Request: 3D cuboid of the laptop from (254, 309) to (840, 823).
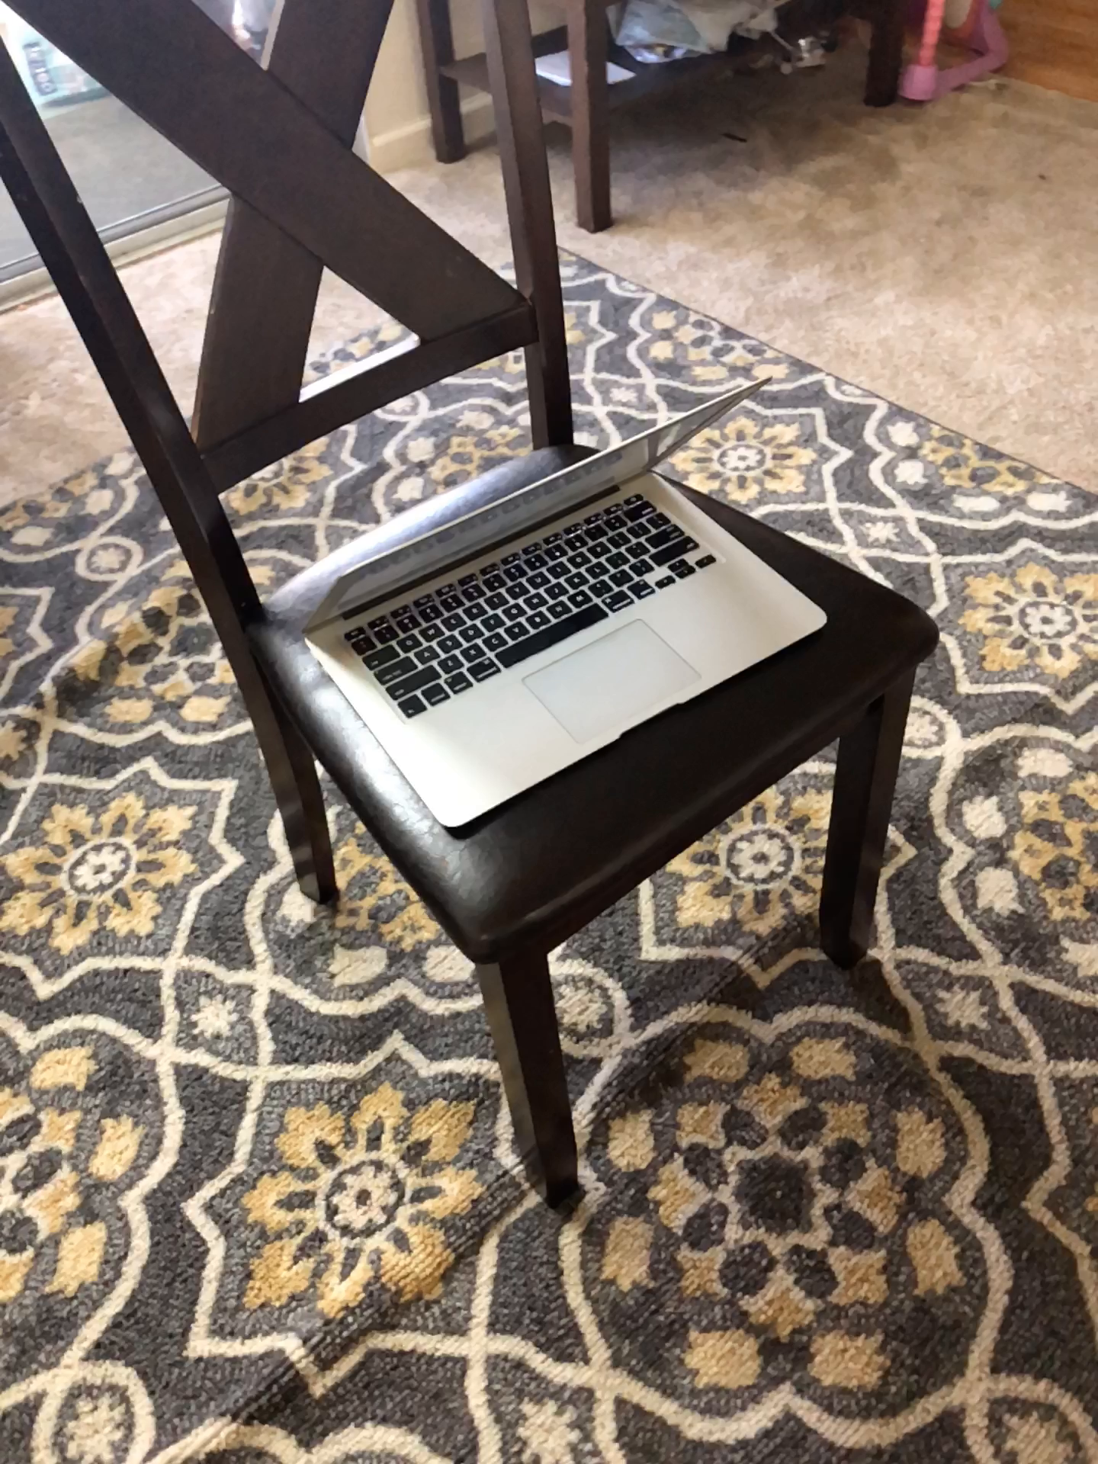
[{"bbox_3d":[0.000,-0.125,0.819,0.304,0.154,0.216,-27,49,-19],"label":"laptop"}]
